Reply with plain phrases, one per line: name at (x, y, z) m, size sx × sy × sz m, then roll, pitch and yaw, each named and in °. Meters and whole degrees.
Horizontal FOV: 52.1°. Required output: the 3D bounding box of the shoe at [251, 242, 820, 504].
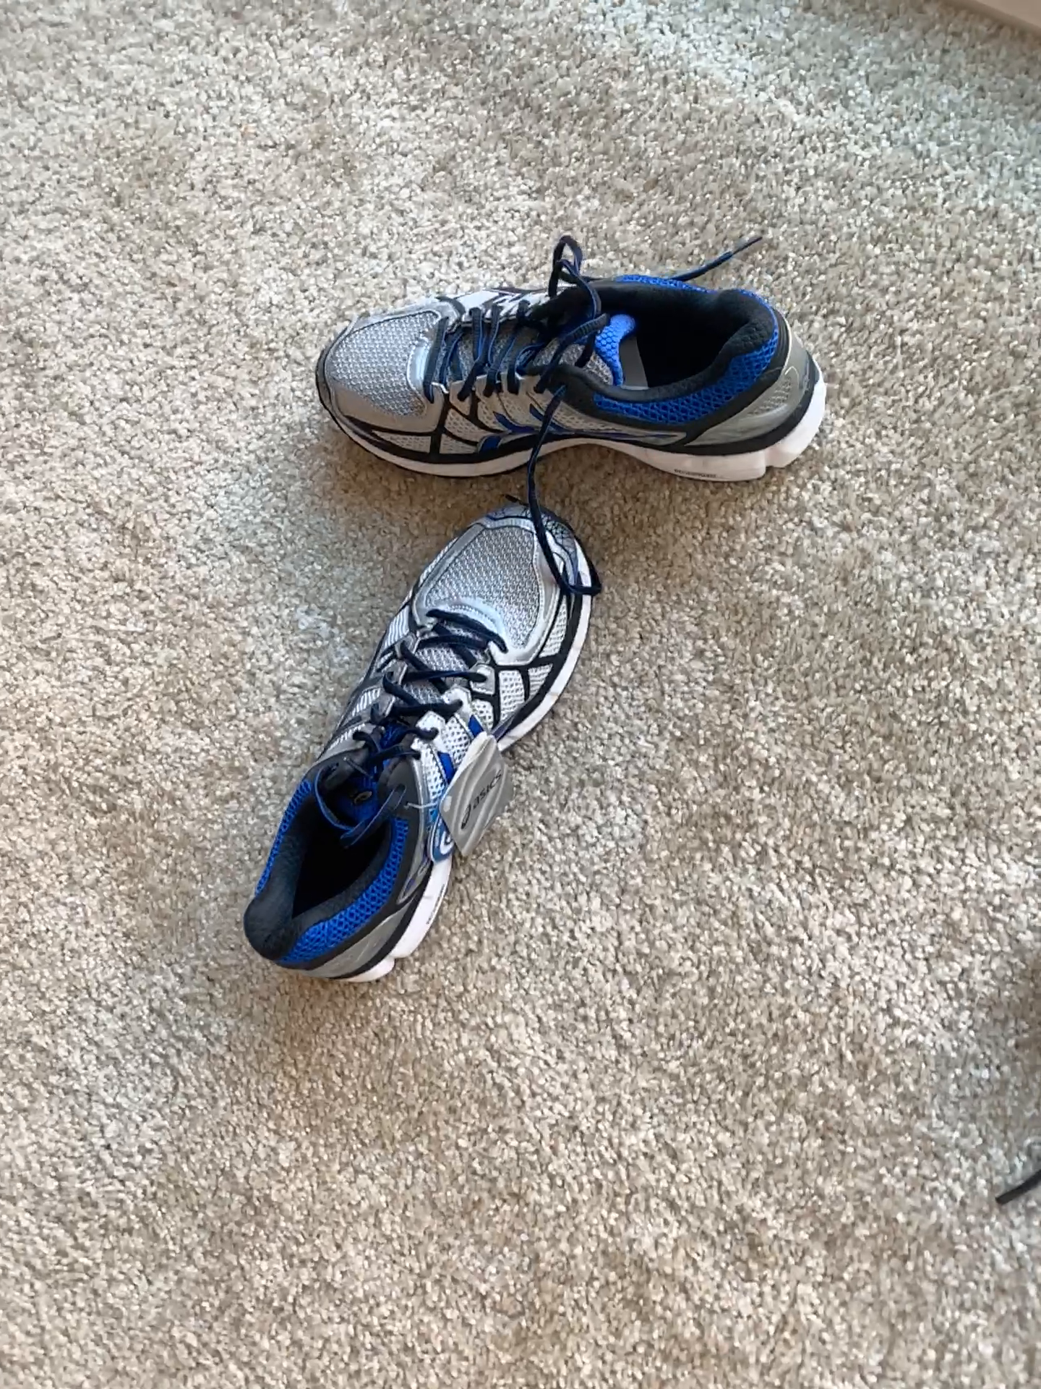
shoe at (0.013, -0.184, 0.633) m, size 0.311 × 0.110 × 0.100 m, roll 5°, pitch 80°, yaw 16°

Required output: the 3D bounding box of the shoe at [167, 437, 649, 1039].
shoe at (-0.052, 0.026, 0.582) m, size 0.100 × 0.110 × 0.290 m, roll 29°, pitch 88°, yaw 19°
